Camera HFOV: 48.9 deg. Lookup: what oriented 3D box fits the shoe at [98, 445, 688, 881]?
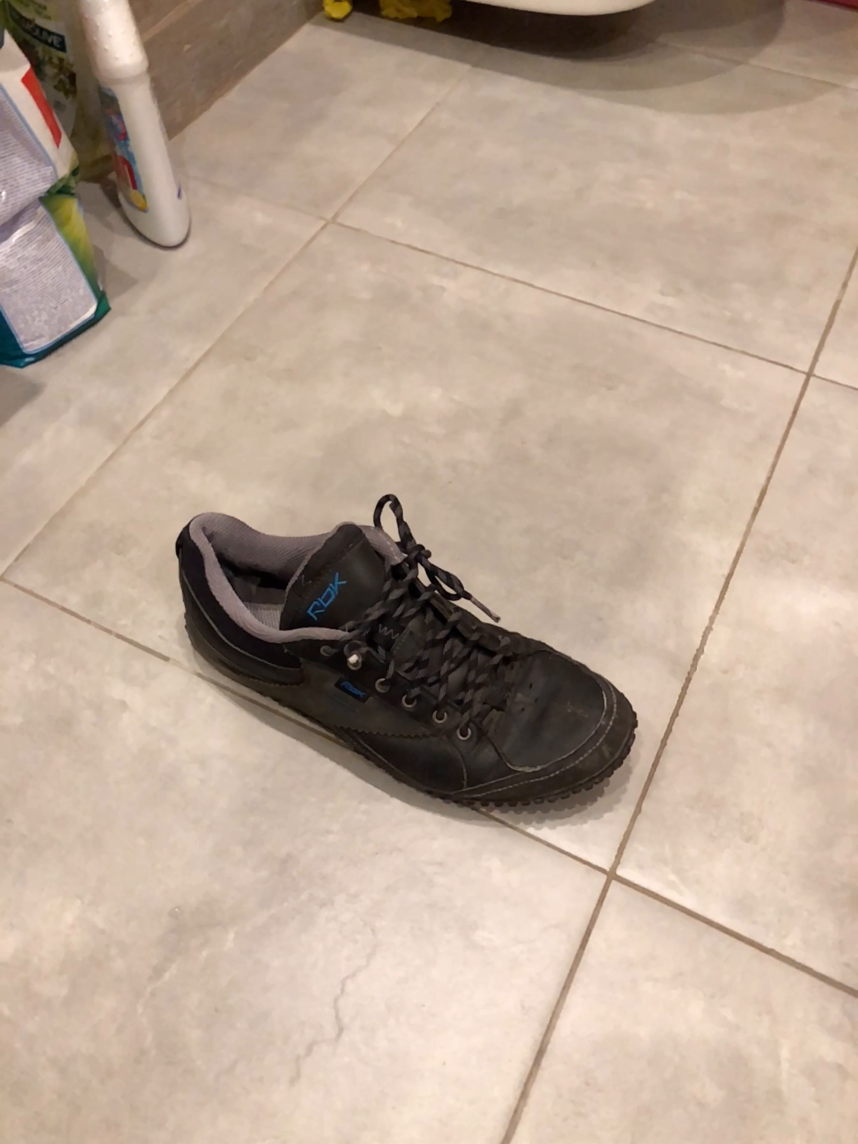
[{"bbox_3d":[-0.020,0.045,0.503,0.270,0.109,0.101,21,58,14],"label":"shoe"}]
